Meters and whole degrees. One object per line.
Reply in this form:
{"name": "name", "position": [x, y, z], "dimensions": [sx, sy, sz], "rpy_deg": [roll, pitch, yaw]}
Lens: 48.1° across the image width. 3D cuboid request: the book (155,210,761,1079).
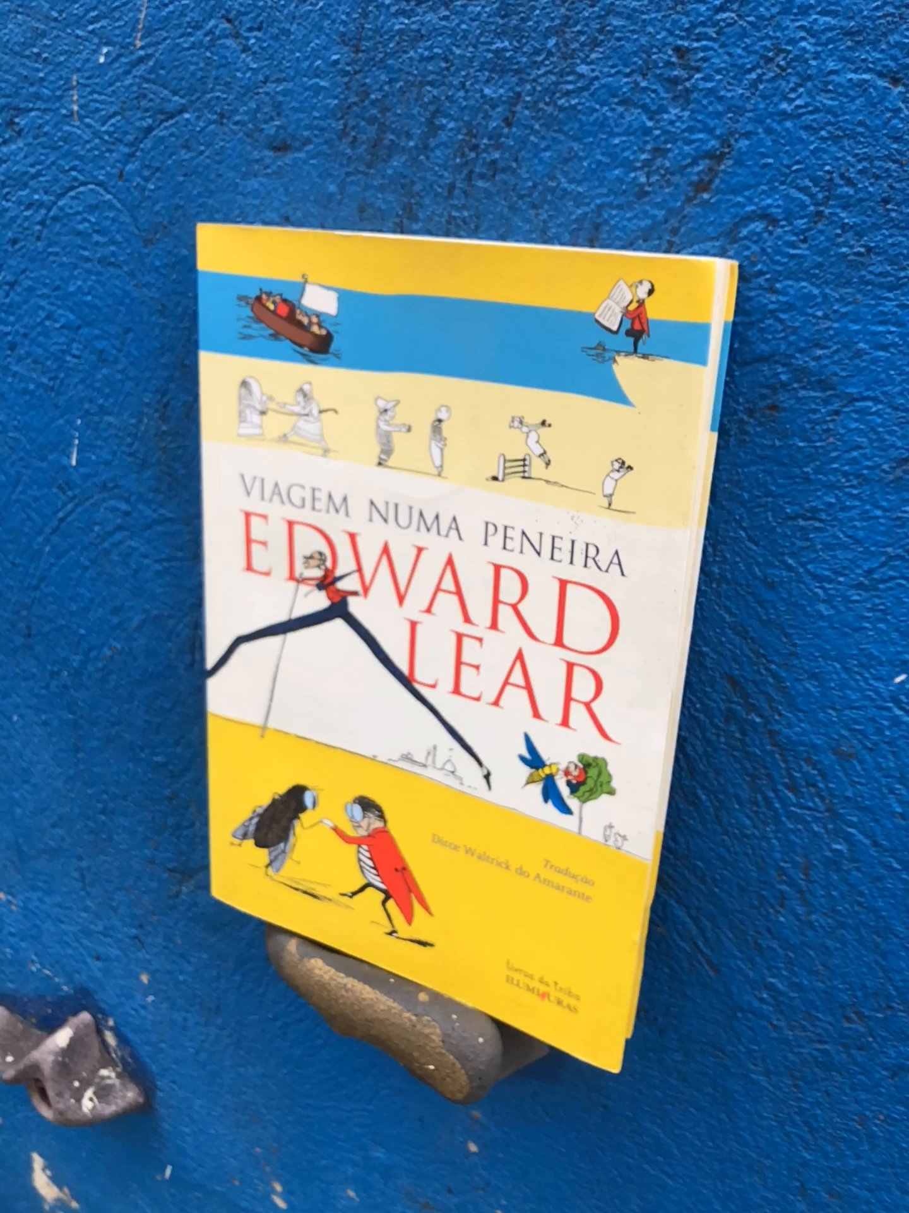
{"name": "book", "position": [-0.012, 0.009, 0.288], "dimensions": [0.158, 0.219, 0.022], "rpy_deg": [13, 23, 25]}
